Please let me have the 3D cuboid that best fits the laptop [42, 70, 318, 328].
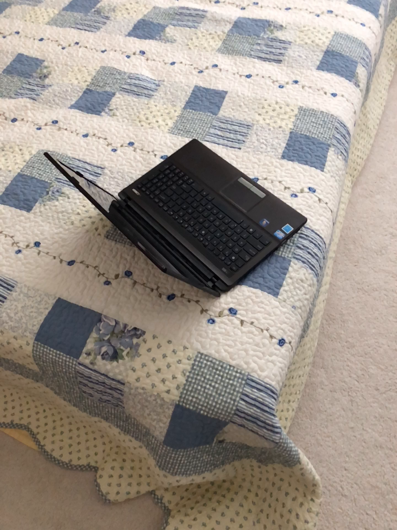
[{"bbox_3d":[-0.033,-0.147,0.859,0.350,0.193,0.358,-38,61,-18],"label":"laptop"}]
